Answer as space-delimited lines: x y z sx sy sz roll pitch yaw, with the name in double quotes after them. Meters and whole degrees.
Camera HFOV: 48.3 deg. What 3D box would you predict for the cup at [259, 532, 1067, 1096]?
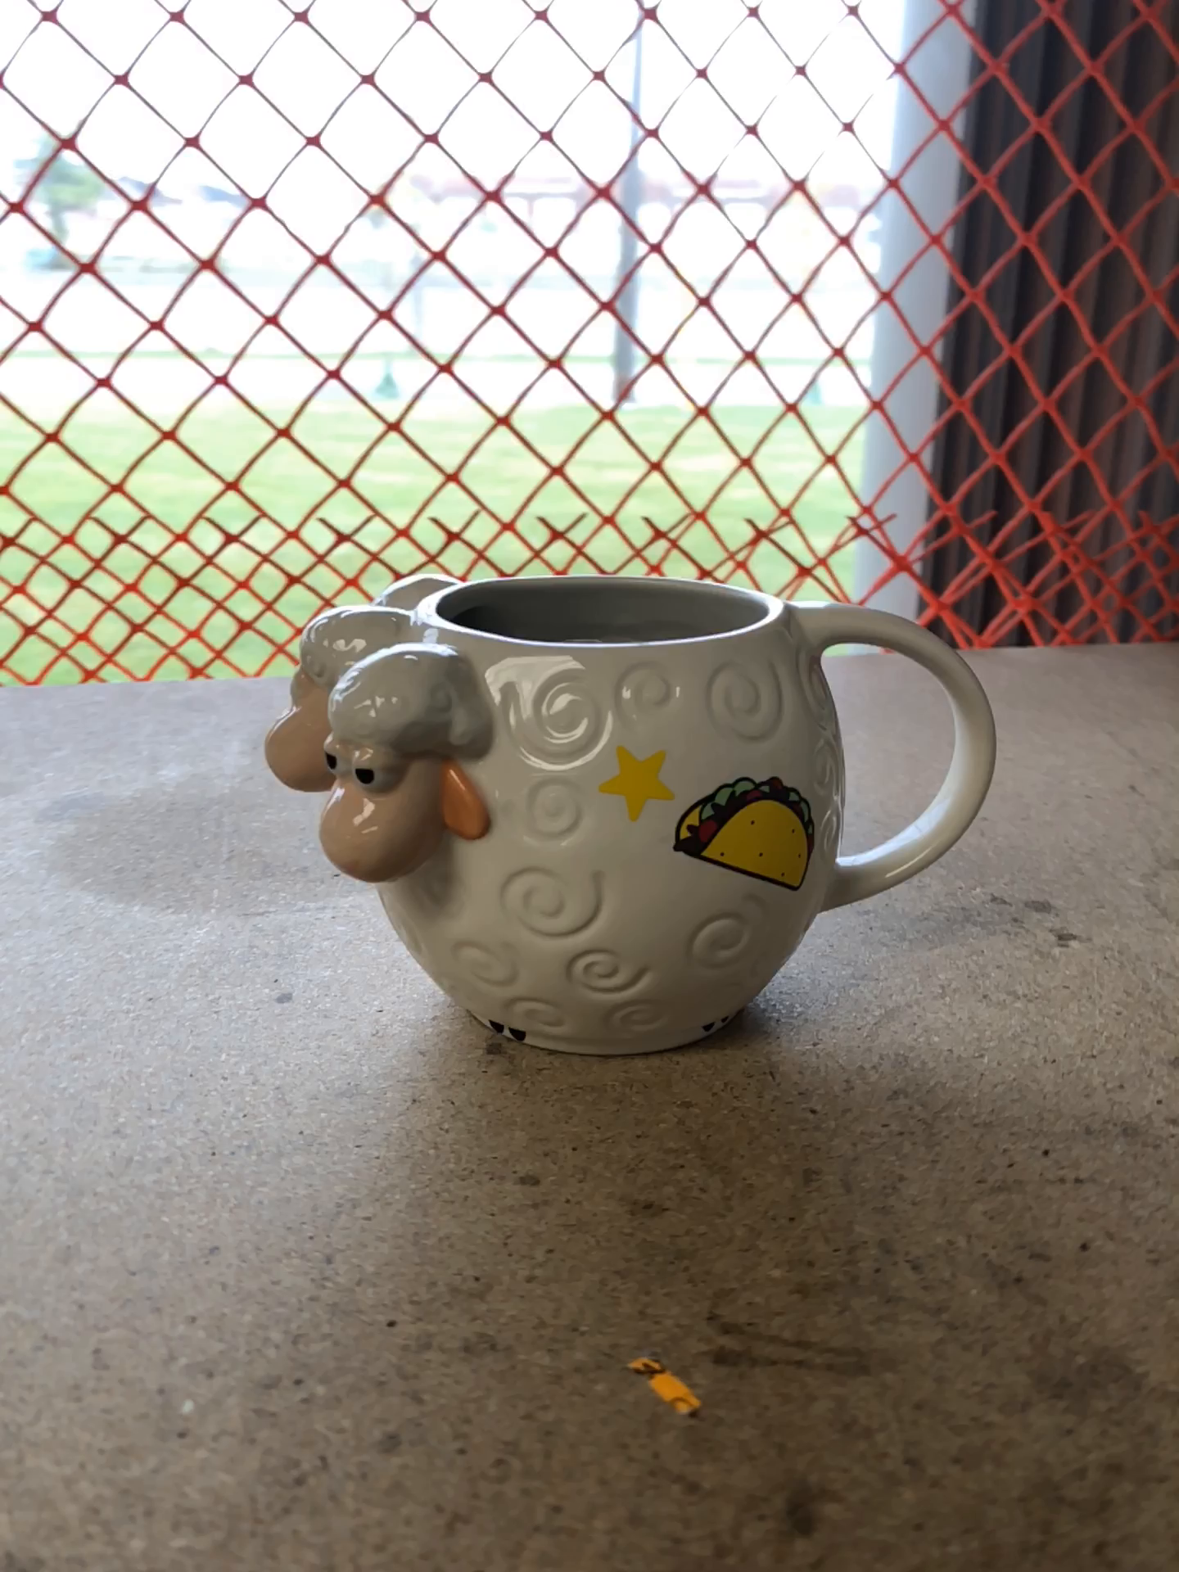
0.010 -0.001 0.282 0.146 0.090 0.076 -3 20 -10 "cup"
